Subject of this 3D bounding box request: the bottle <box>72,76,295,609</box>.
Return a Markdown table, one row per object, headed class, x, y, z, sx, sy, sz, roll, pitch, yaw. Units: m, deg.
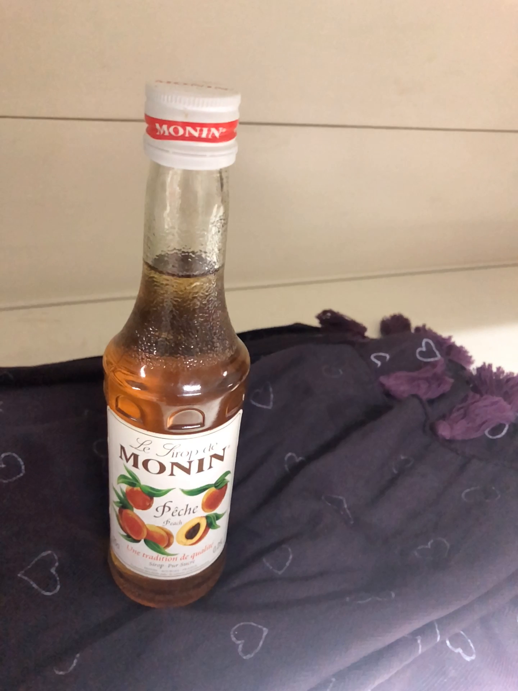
| class | x | y | z | sx | sy | sz | roll | pitch | yaw |
| --- | --- | --- | --- | --- | --- | --- | --- | --- | --- |
| bottle | -0.031 | 0.011 | 0.234 | 0.060 | 0.209 | 0.060 | 5 | 29 | -3 |
